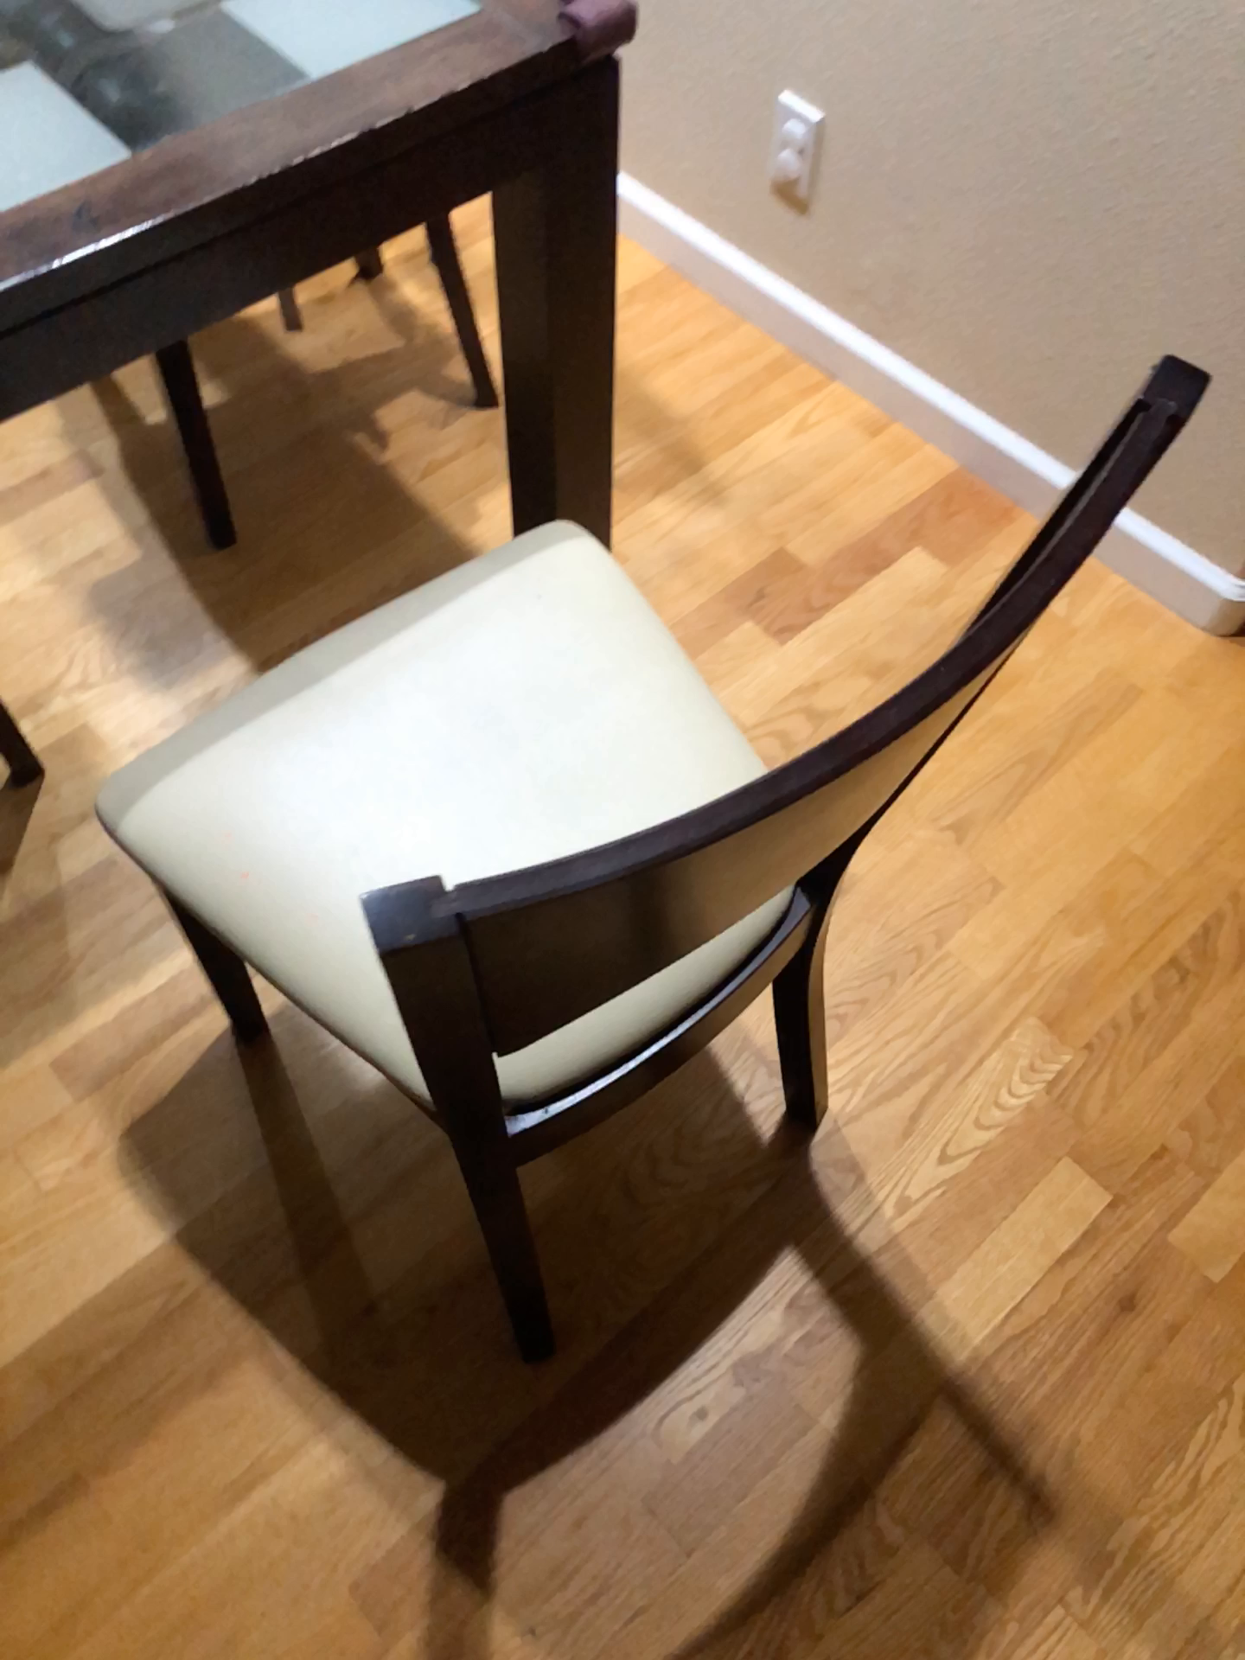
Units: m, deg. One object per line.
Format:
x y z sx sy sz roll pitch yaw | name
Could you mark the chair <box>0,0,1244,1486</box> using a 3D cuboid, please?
-0.063 -0.002 1.072 0.501 1.006 0.641 -39 65 -23 | chair
